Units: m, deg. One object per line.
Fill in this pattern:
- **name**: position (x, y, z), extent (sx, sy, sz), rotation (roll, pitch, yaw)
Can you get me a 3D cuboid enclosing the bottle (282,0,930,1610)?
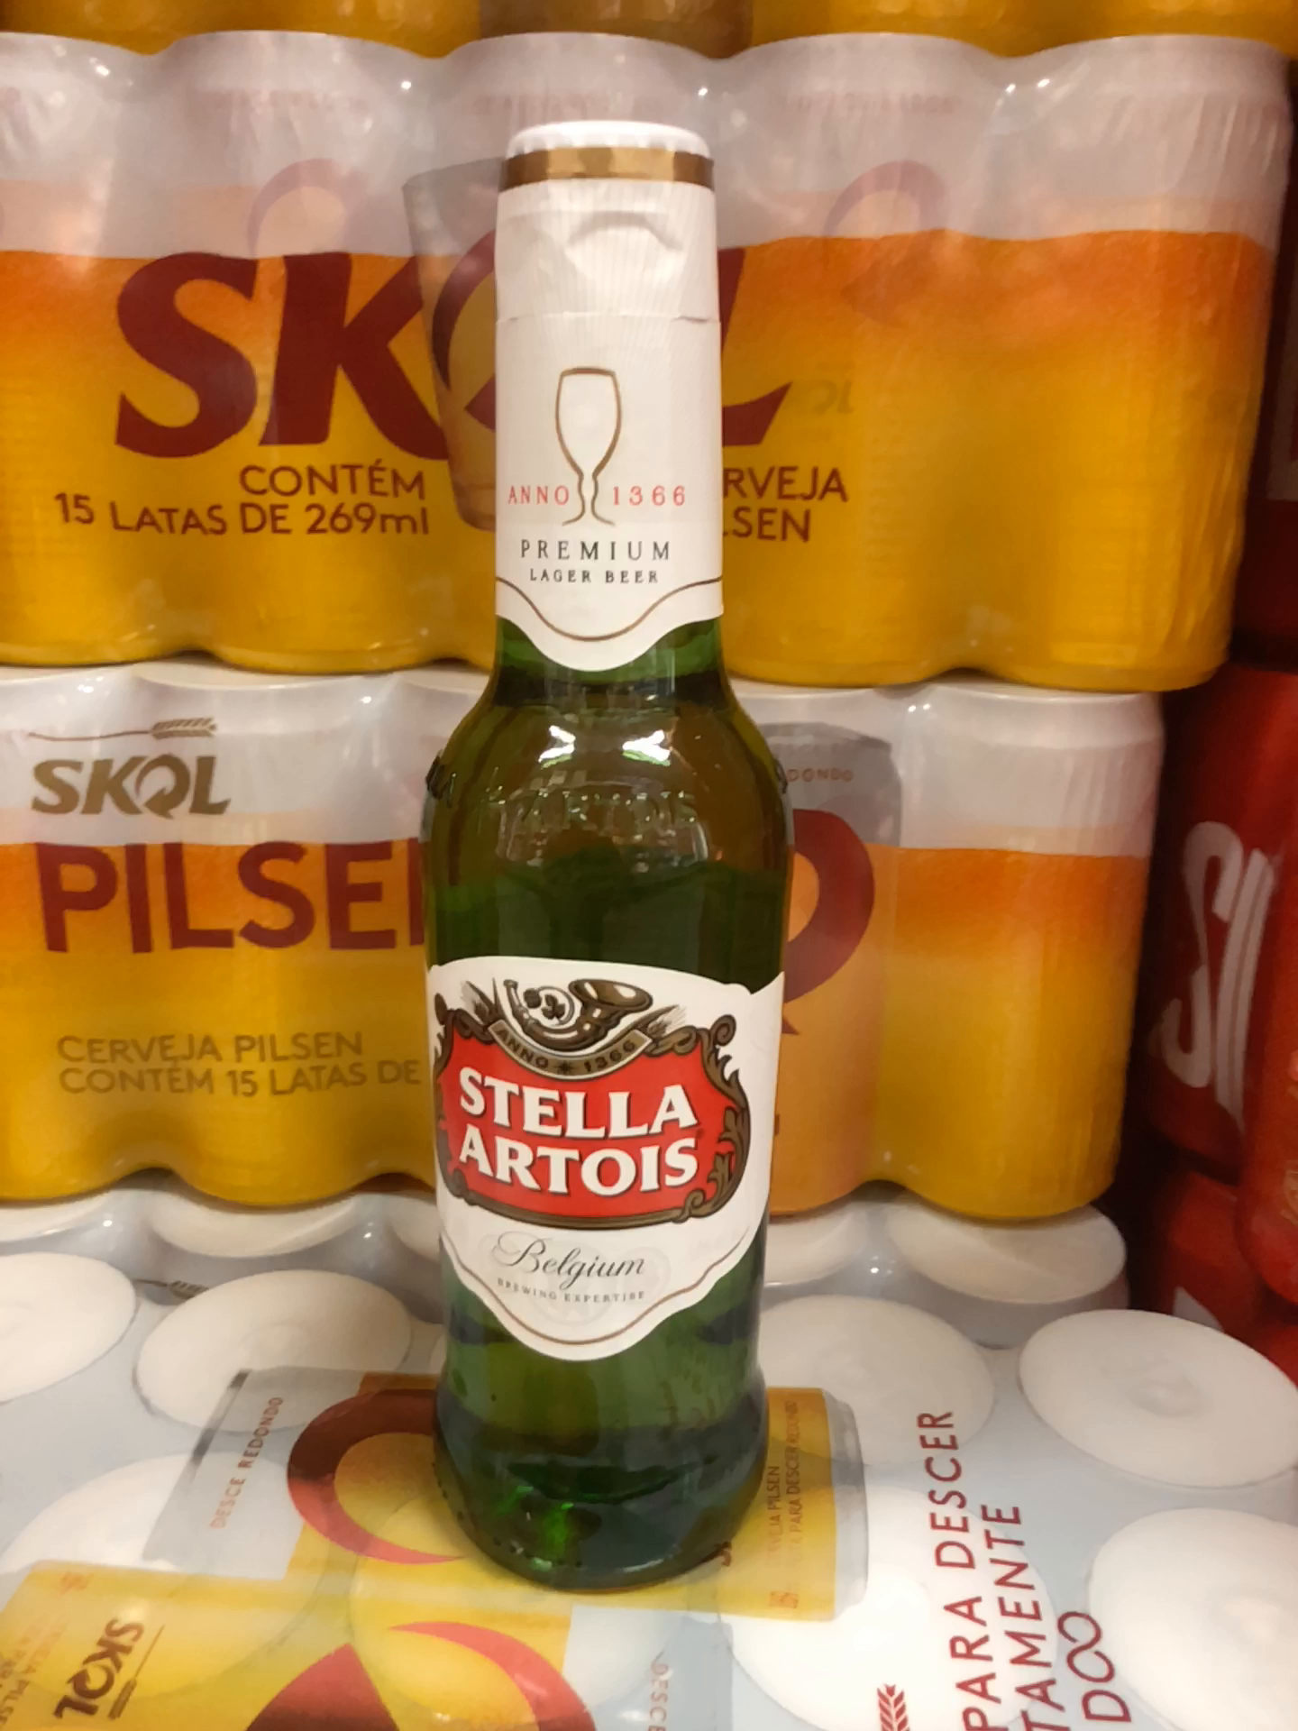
- **bottle**: position (-0.003, 0.001, 0.219), extent (0.070, 0.219, 0.060), rotation (1, 19, 3)
